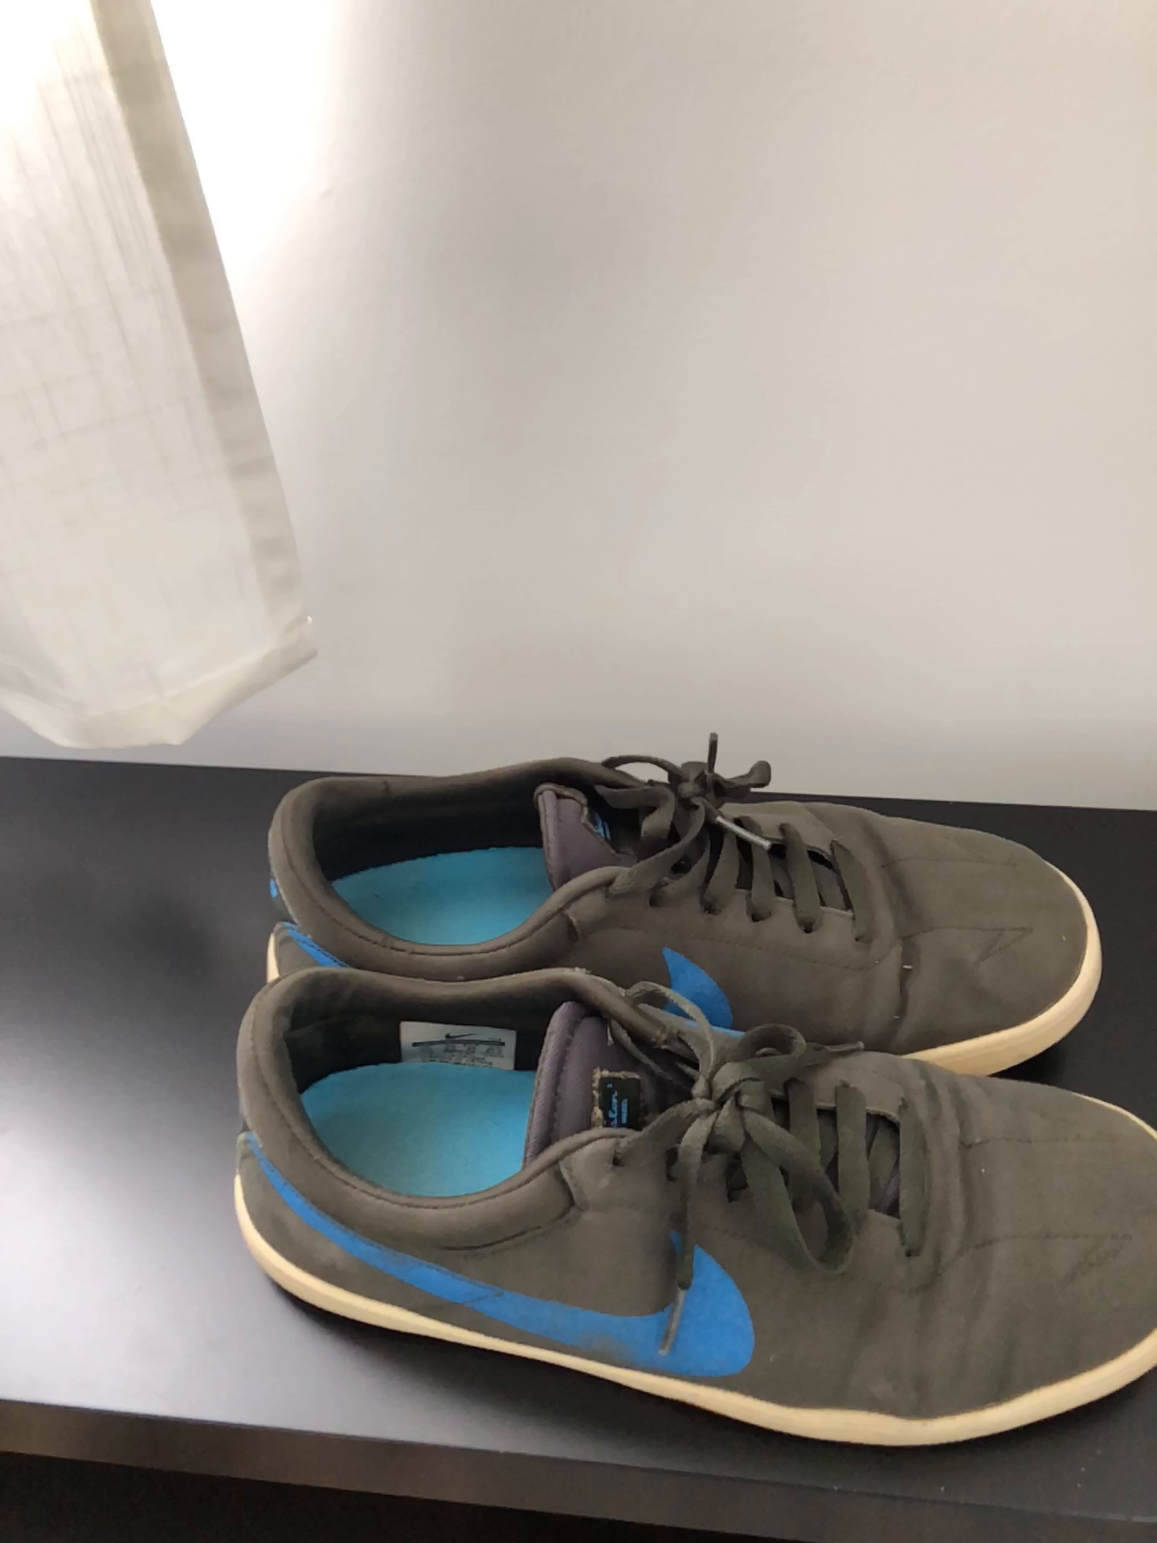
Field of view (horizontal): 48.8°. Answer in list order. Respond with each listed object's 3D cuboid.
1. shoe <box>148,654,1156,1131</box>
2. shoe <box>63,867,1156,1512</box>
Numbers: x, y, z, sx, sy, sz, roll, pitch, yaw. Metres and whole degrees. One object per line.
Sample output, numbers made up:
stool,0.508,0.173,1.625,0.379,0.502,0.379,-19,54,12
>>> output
shoe,0.027,0.038,0.414,0.280,0.110,0.100,1,45,4
shoe,0.027,0.112,0.353,0.280,0.110,0.100,4,45,8
